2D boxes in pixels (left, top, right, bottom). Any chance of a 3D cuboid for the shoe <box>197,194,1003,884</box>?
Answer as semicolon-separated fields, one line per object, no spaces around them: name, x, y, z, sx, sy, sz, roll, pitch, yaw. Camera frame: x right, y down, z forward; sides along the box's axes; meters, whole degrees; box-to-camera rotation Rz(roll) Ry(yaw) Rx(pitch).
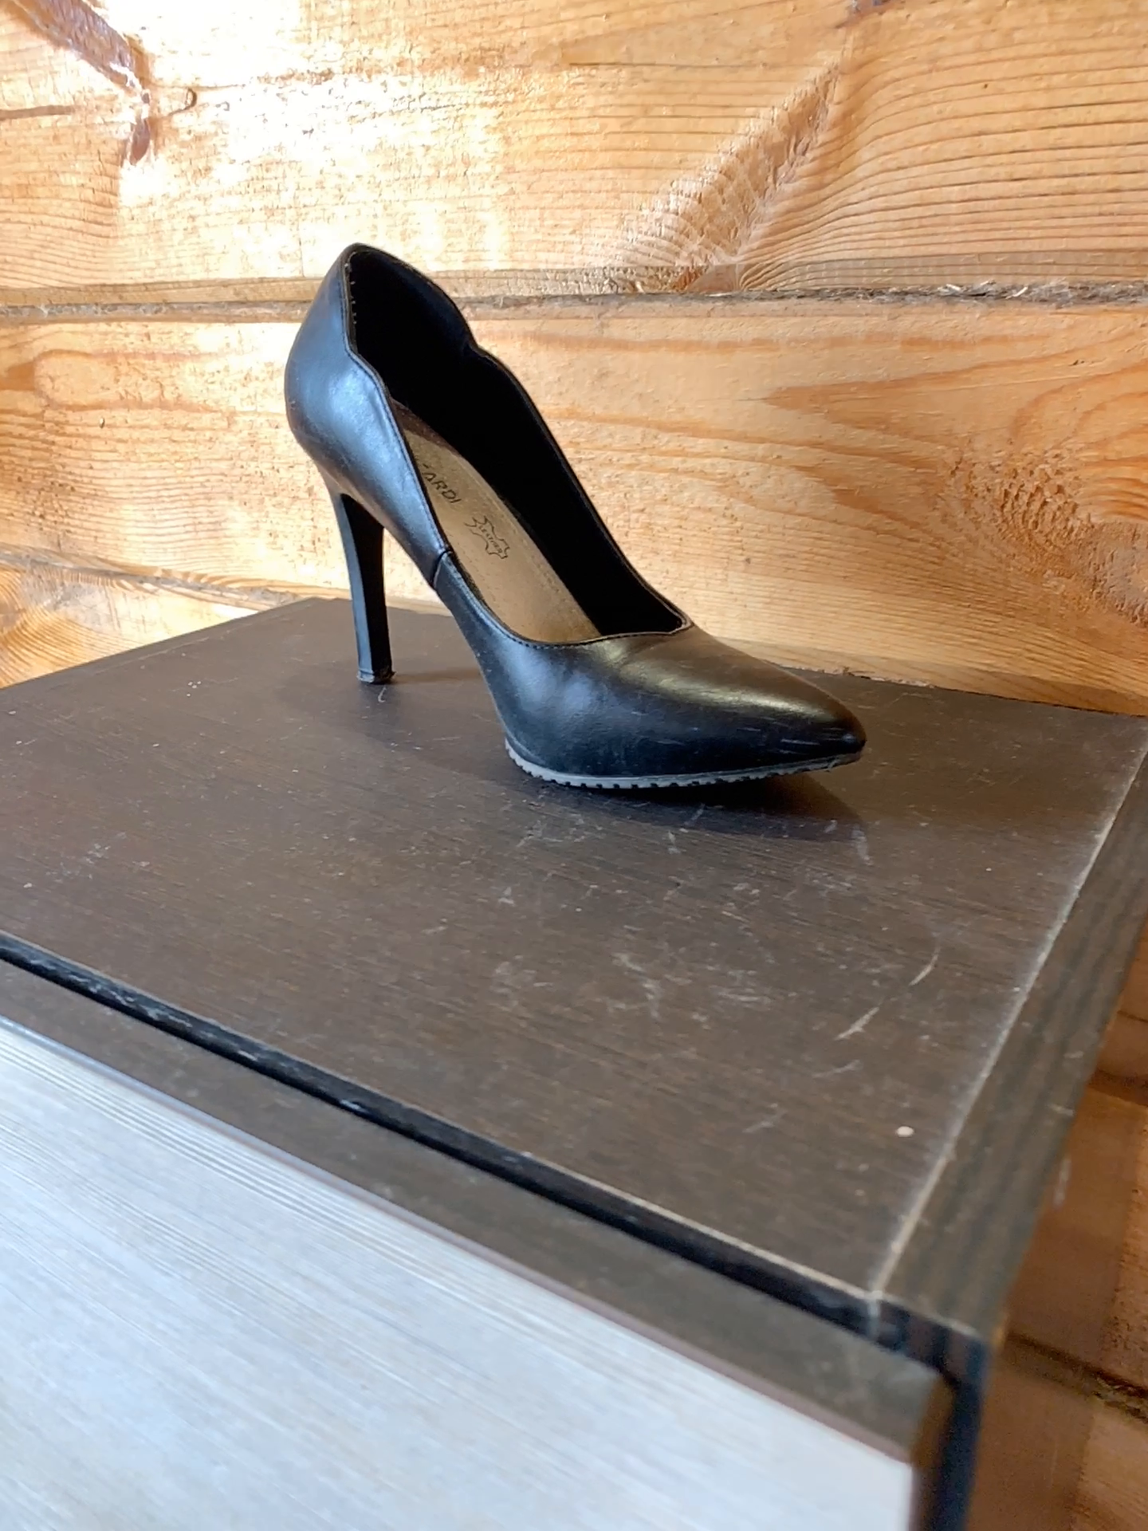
shoe;-0.005;-0.081;0.362;0.221;0.149;0.100;18;27;40
